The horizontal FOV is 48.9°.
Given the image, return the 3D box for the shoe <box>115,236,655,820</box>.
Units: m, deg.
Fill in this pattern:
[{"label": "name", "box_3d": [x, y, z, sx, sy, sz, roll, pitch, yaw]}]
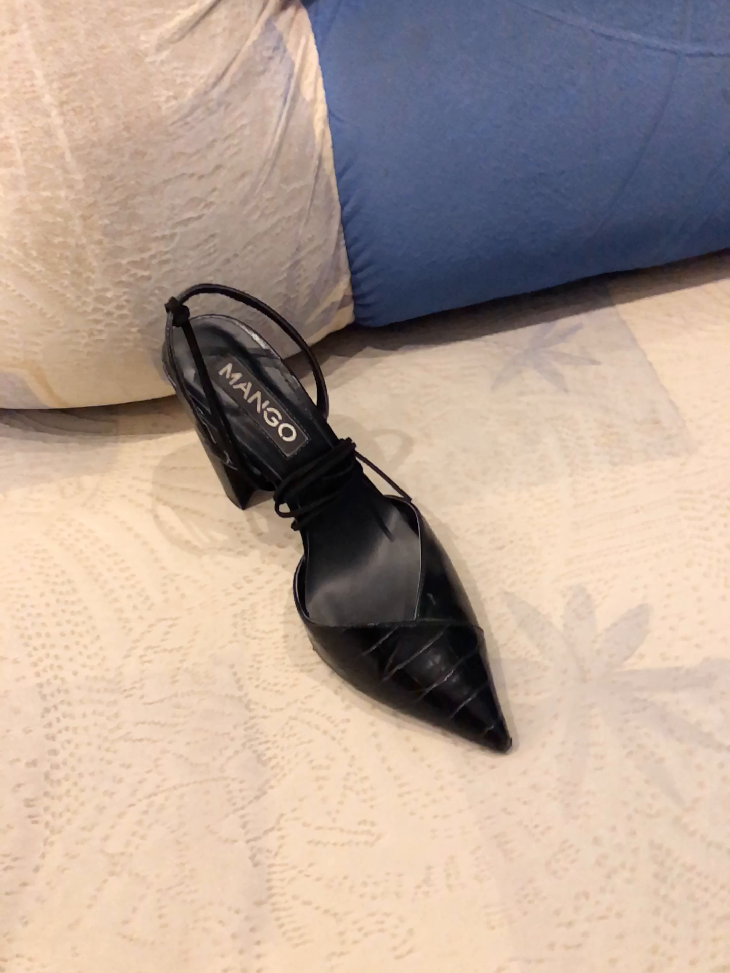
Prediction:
[{"label": "shoe", "box_3d": [-0.004, 0.007, 0.363, 0.084, 0.119, 0.241, -33, 56, -18]}]
